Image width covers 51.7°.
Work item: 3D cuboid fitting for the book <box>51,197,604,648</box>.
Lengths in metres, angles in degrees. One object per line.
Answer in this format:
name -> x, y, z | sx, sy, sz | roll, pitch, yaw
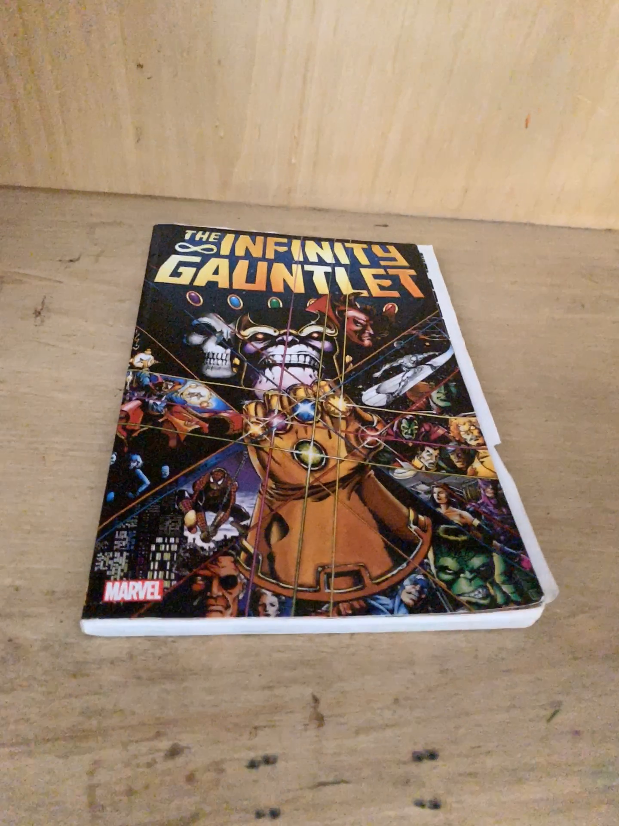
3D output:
book -> 0.001, -0.022, 0.322 | 0.190, 0.030, 0.272 | 2, 46, -7
